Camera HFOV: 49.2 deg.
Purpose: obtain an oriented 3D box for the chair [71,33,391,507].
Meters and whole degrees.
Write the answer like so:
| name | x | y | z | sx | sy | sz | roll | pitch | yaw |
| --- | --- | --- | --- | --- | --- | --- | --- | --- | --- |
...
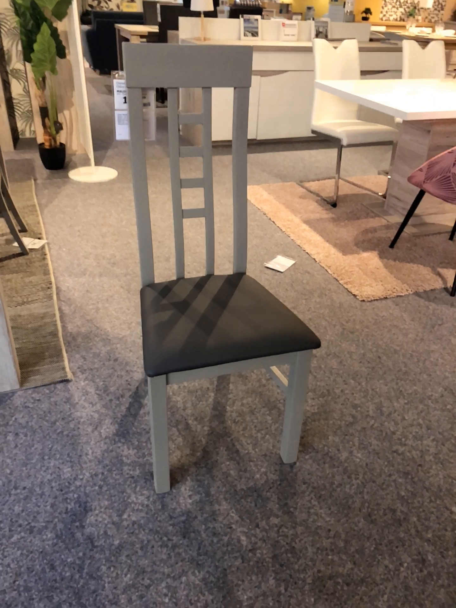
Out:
| name | x | y | z | sx | sy | sz | roll | pitch | yaw |
| --- | --- | --- | --- | --- | --- | --- | --- | --- | --- |
| chair | -0.061 | -0.099 | 1.288 | 0.511 | 1.014 | 0.552 | -8 | 32 | -17 |
